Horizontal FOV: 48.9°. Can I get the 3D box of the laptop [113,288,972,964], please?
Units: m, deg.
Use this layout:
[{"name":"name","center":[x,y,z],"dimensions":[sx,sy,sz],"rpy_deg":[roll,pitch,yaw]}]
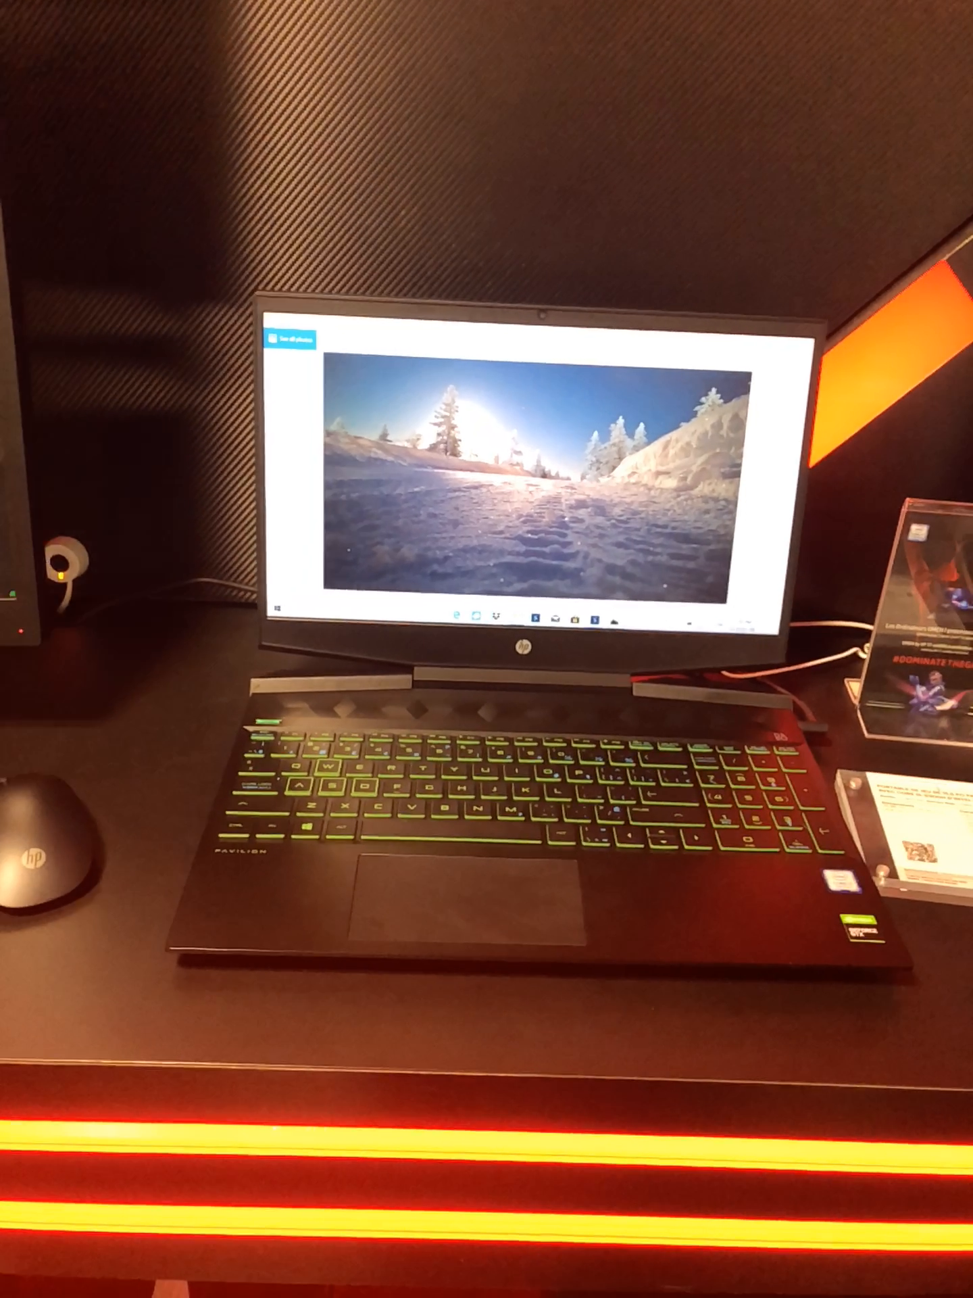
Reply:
[{"name":"laptop","center":[0.032,-0.040,0.595],"dimensions":[0.355,0.240,0.315],"rpy_deg":[2,27,-1]}]
